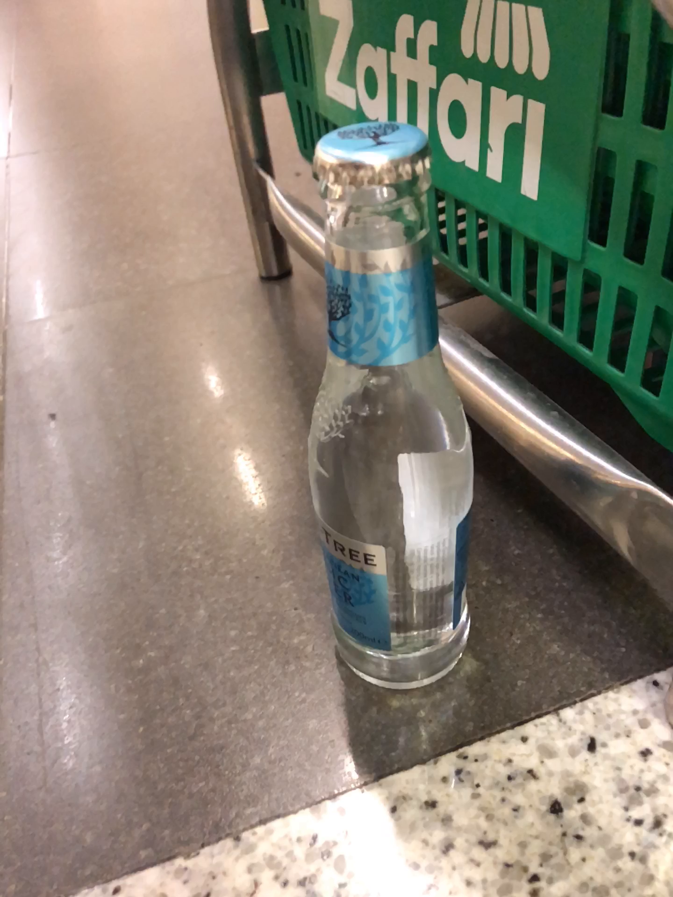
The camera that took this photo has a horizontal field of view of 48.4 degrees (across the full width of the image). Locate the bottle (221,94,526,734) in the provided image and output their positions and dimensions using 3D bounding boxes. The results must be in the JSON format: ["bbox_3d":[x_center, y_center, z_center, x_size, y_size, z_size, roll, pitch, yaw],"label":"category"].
[{"bbox_3d":[0.015,0.002,0.231,0.050,0.188,0.060,-19,40,-14],"label":"bottle"}]
